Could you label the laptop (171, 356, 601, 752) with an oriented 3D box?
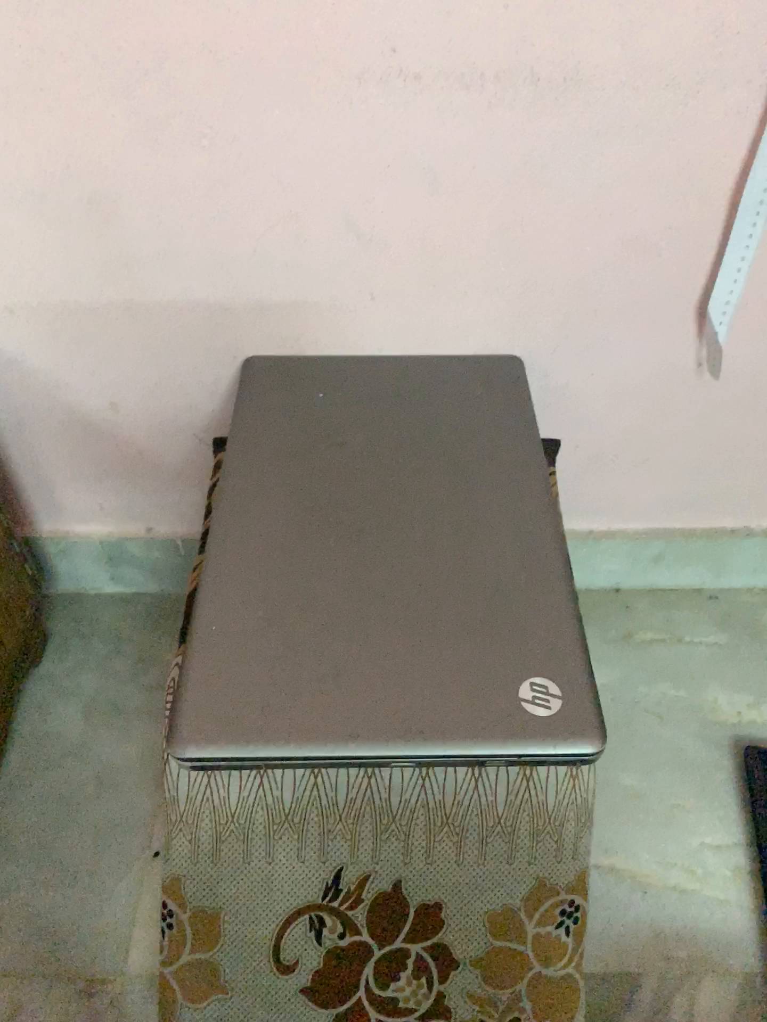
[{"bbox_3d":[0.001,-0.001,0.584,0.249,0.002,0.381,0,47,0],"label":"laptop"}]
